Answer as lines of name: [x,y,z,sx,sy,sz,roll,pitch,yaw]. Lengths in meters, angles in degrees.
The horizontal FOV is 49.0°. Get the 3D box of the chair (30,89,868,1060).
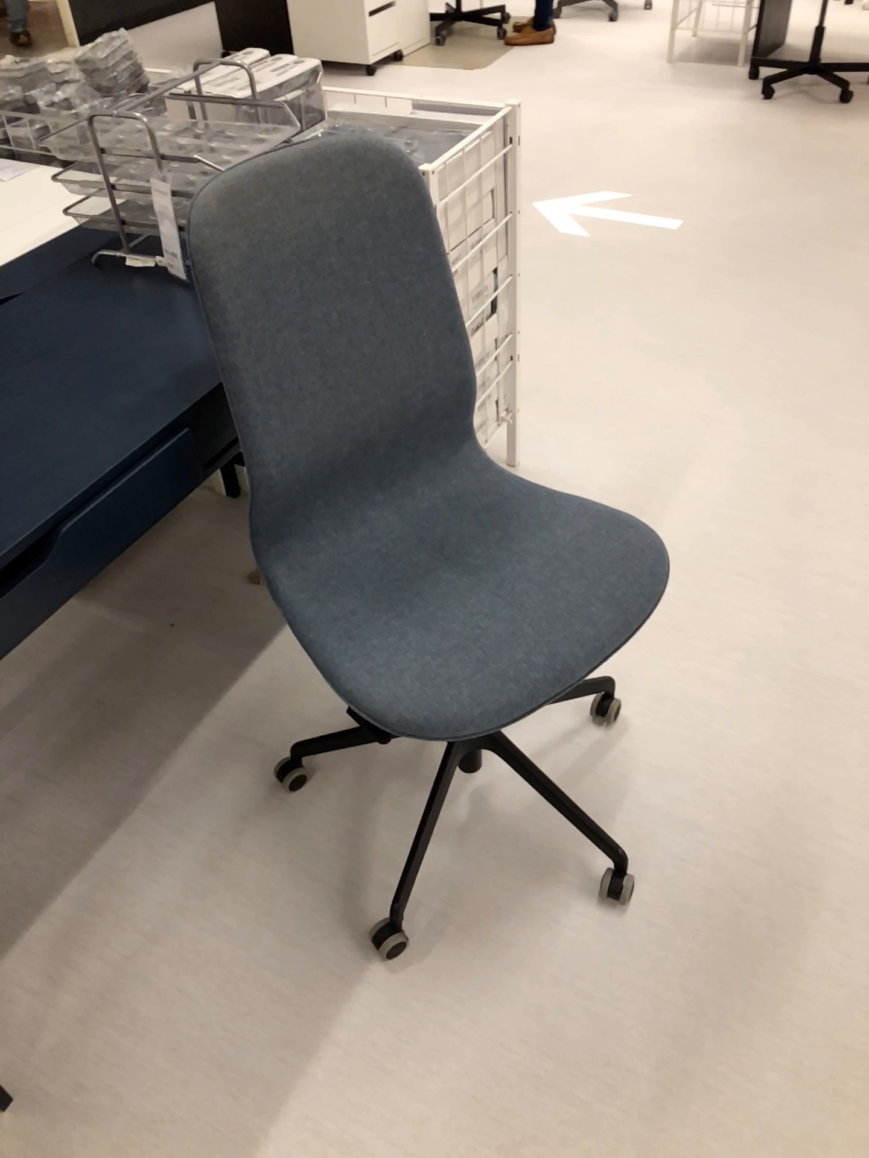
chair: [0.039,-0.027,1.296,0.642,0.934,0.683,-30,47,-26]
